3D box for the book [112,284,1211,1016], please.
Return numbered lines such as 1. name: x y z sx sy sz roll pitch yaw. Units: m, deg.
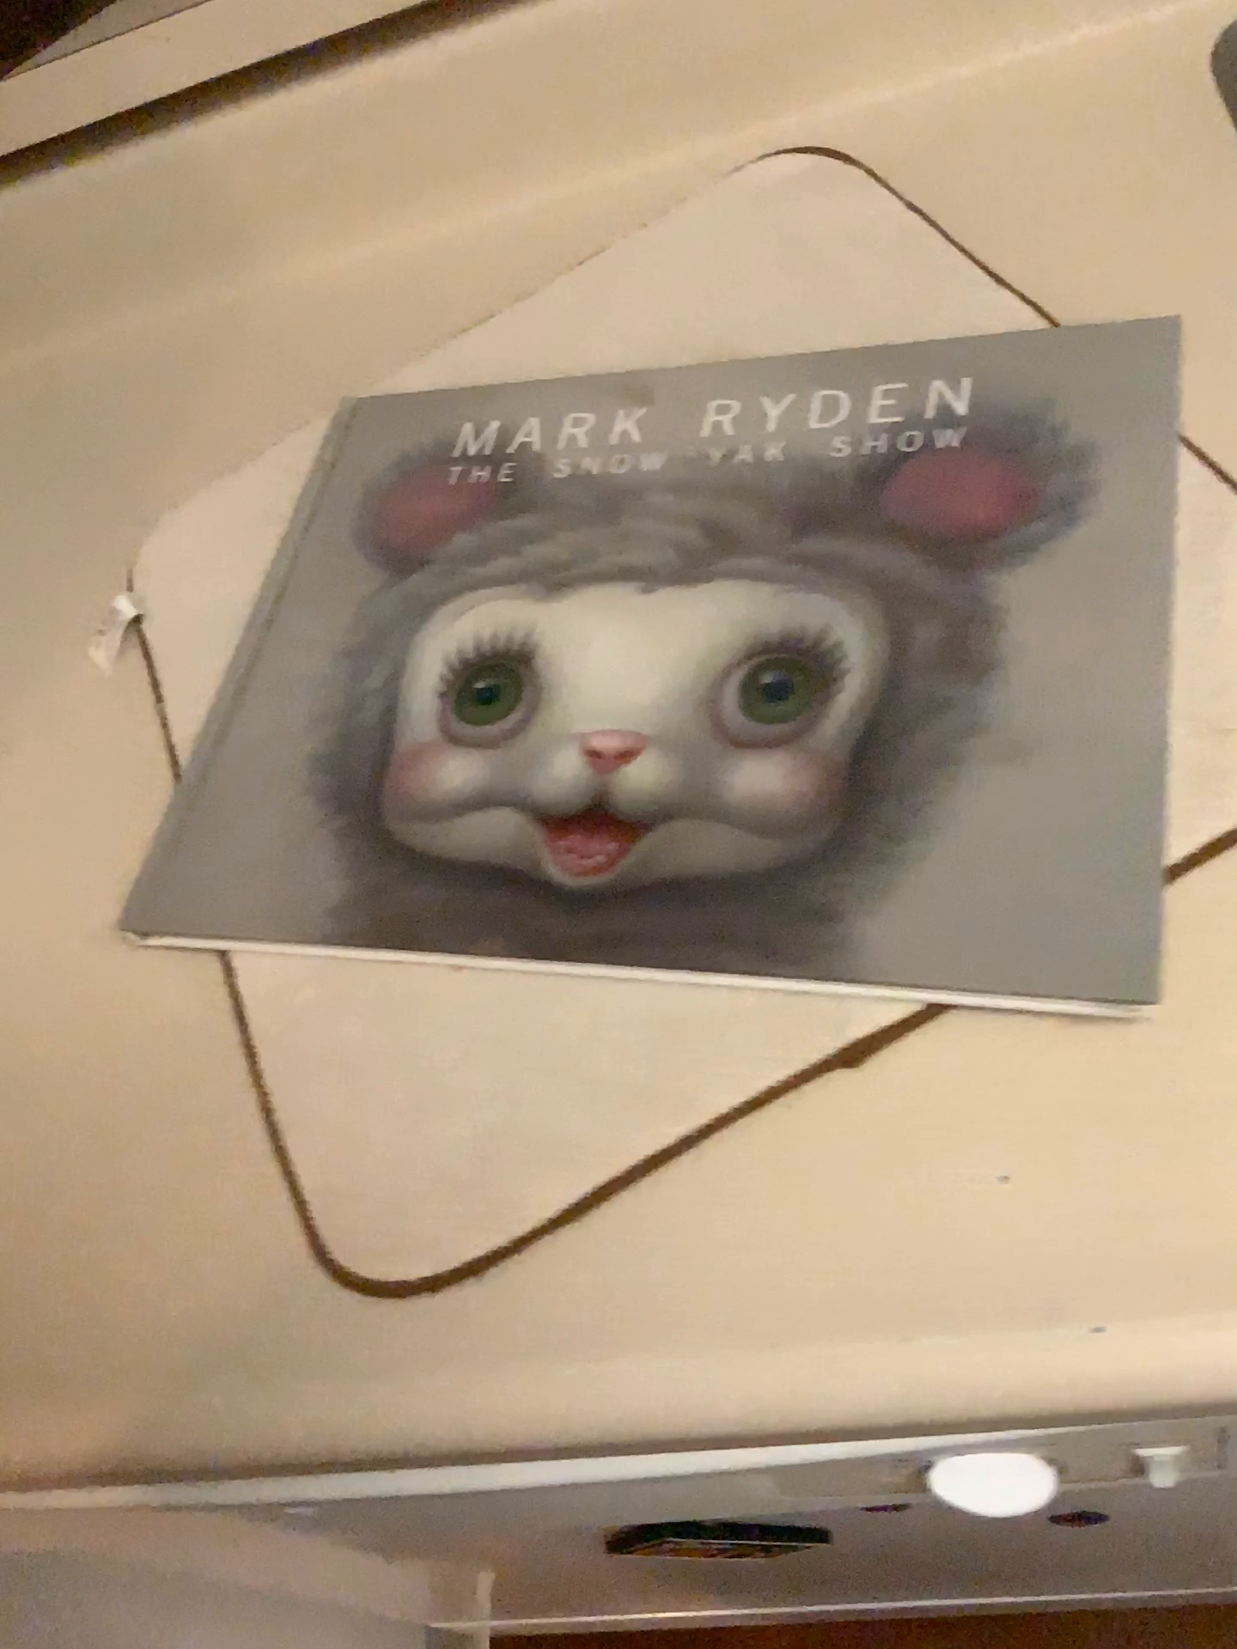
1. book: 0.018 -0.080 0.528 0.380 0.020 0.290 2 60 22
